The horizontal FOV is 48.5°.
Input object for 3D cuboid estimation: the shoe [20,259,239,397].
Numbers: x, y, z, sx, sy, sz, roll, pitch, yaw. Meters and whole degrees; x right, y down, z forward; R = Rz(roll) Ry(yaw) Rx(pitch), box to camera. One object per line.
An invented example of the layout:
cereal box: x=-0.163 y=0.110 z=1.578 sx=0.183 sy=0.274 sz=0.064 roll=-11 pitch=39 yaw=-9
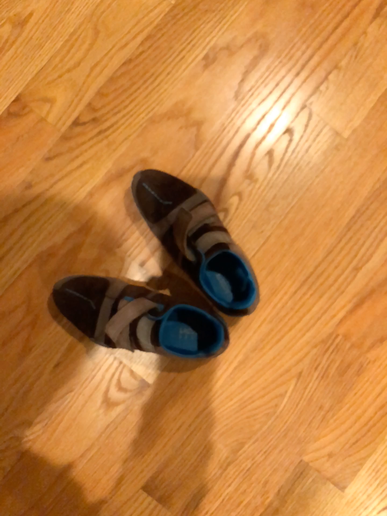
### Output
shoe: x=-0.082 y=0.091 z=0.588 sx=0.255 sy=0.092 sz=0.102 roll=18 pitch=87 yaw=-4

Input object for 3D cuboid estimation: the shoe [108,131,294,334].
shoe: x=0.008 y=-0.032 z=0.600 sx=0.102 sy=0.092 sz=0.255 roll=-39 pitch=92 yaw=-4
